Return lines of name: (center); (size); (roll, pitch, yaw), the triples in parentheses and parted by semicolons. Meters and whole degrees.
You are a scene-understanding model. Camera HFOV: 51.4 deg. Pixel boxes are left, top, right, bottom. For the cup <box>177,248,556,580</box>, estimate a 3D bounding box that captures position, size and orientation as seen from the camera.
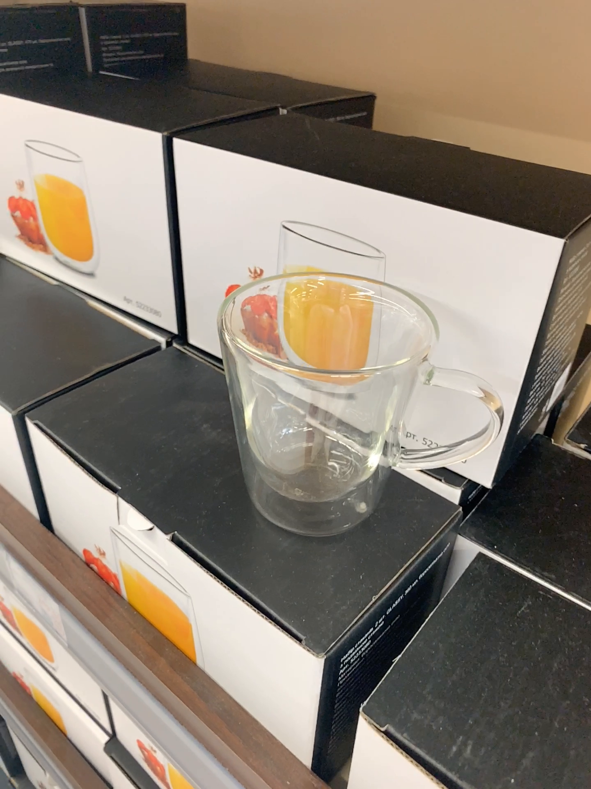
cup: (0.022, 0.005, 0.233); (0.110, 0.090, 0.070); (6, 35, 5)
